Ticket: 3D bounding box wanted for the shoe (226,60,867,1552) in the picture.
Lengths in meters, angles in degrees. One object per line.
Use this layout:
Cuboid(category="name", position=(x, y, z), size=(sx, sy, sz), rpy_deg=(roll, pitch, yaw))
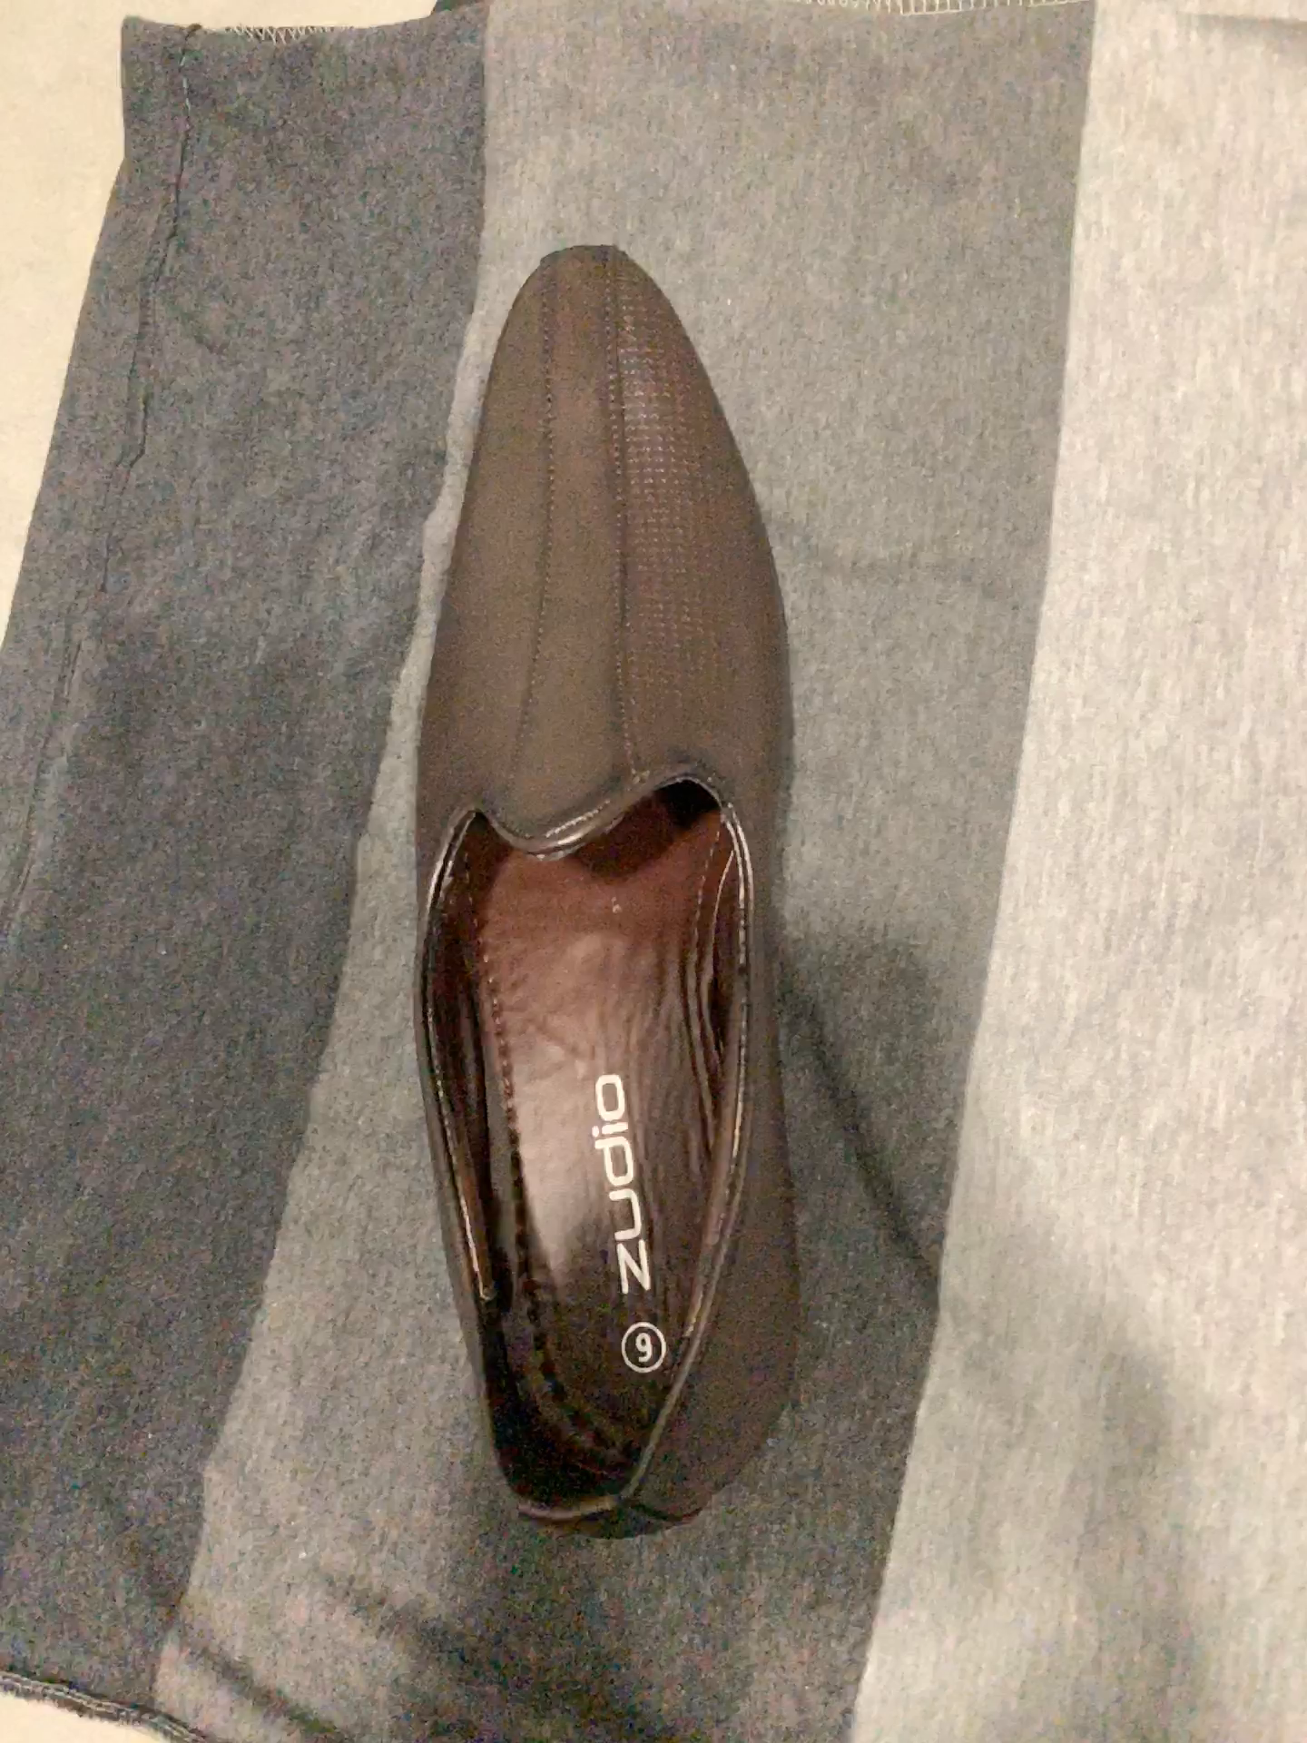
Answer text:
Cuboid(category="shoe", position=(-0.021, -0.012, 0.295), size=(0.100, 0.100, 0.270), rpy_deg=(-7, 79, 12))
